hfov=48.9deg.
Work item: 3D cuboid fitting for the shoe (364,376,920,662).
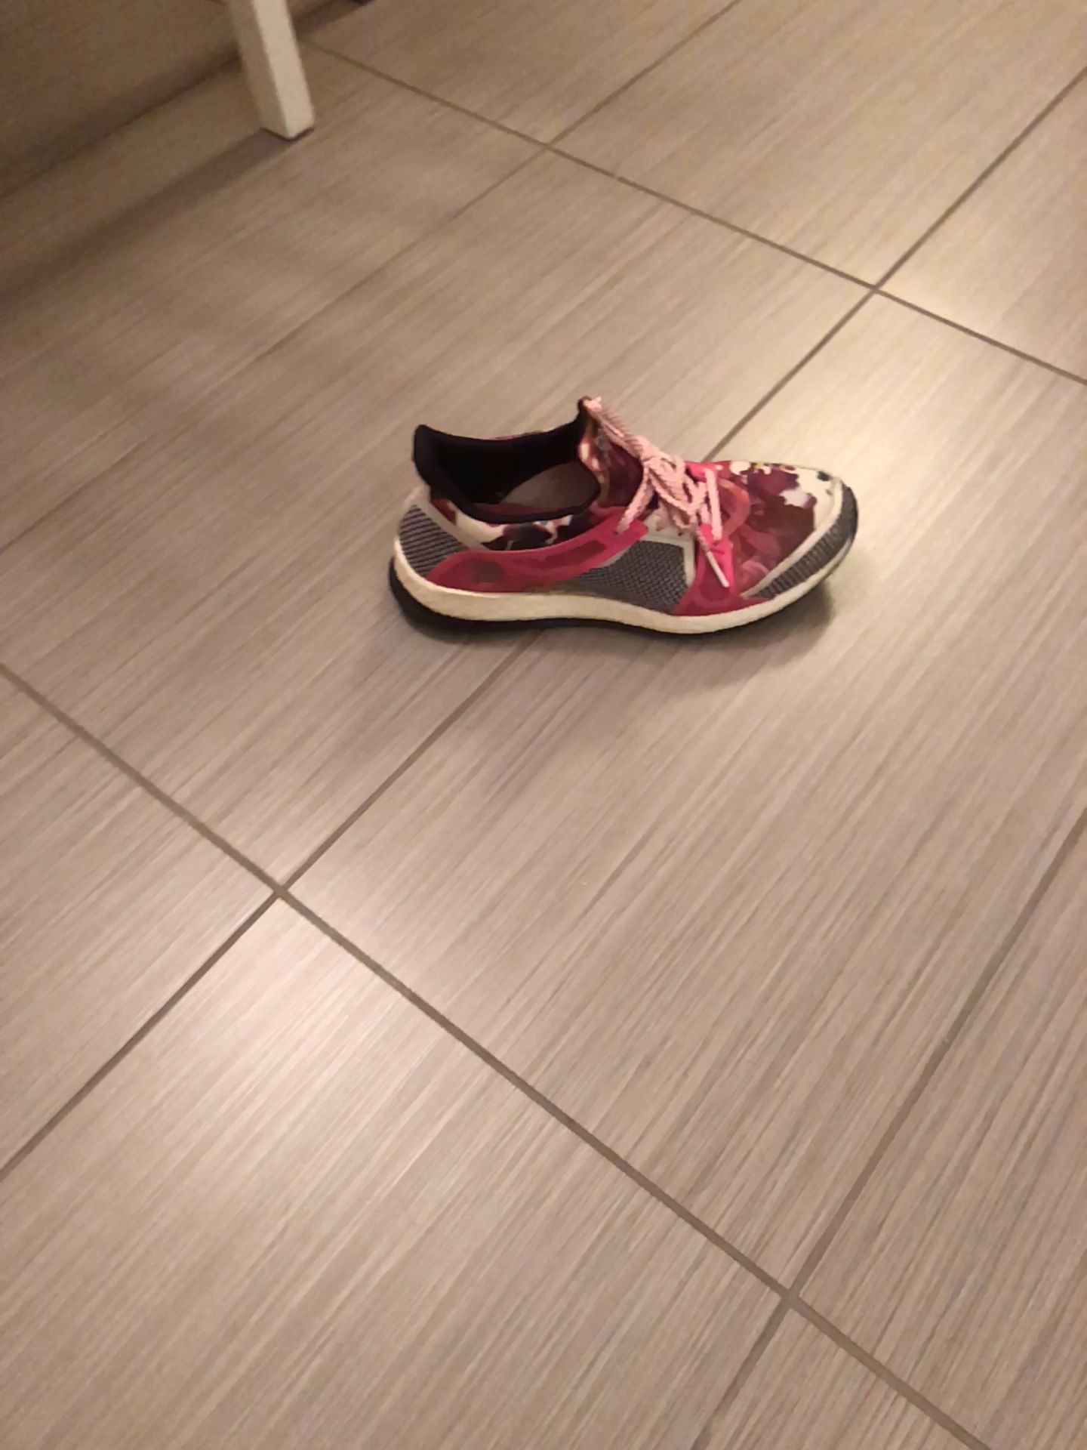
[{"bbox_3d":[0.048,-0.114,0.670,0.280,0.090,0.110,-3,57,0],"label":"shoe"}]
